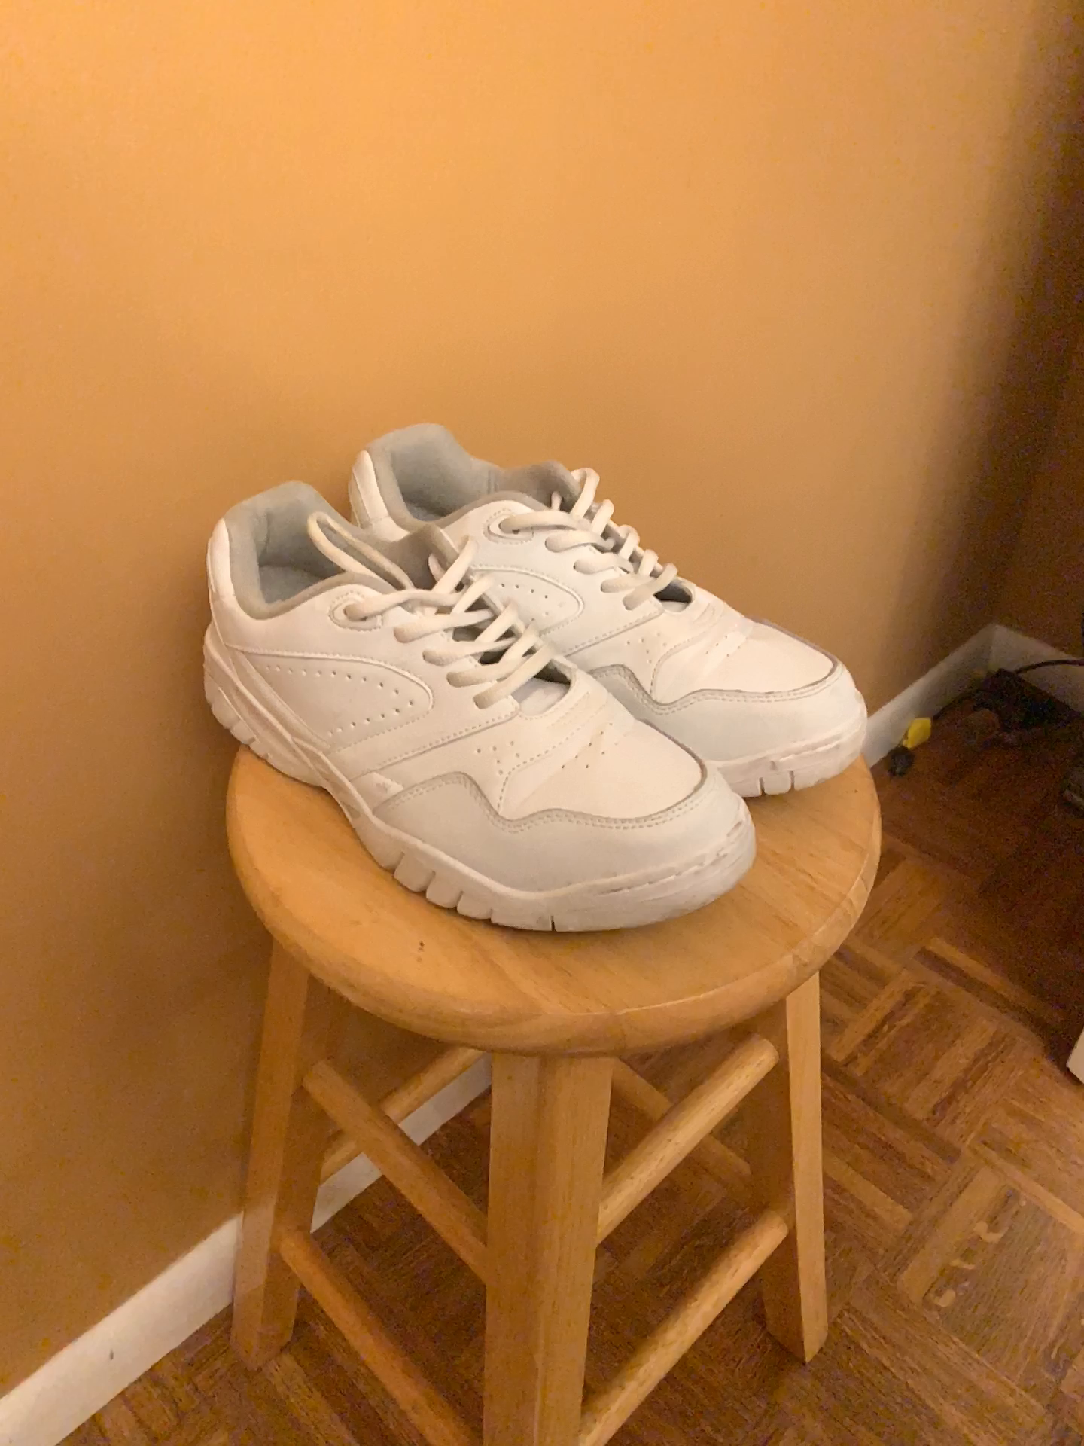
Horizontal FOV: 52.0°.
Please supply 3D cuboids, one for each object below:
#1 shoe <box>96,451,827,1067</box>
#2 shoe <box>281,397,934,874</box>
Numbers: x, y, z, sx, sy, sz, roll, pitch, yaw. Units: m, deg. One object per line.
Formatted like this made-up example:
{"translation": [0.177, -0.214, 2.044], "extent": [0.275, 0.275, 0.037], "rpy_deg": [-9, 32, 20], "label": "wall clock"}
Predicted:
{"translation": [-0.042, -0.006, 0.469], "extent": [0.271, 0.109, 0.130], "rpy_deg": [27, 44, 30], "label": "shoe"}
{"translation": [0.024, -0.056, 0.534], "extent": [0.270, 0.109, 0.120], "rpy_deg": [22, 42, 25], "label": "shoe"}
